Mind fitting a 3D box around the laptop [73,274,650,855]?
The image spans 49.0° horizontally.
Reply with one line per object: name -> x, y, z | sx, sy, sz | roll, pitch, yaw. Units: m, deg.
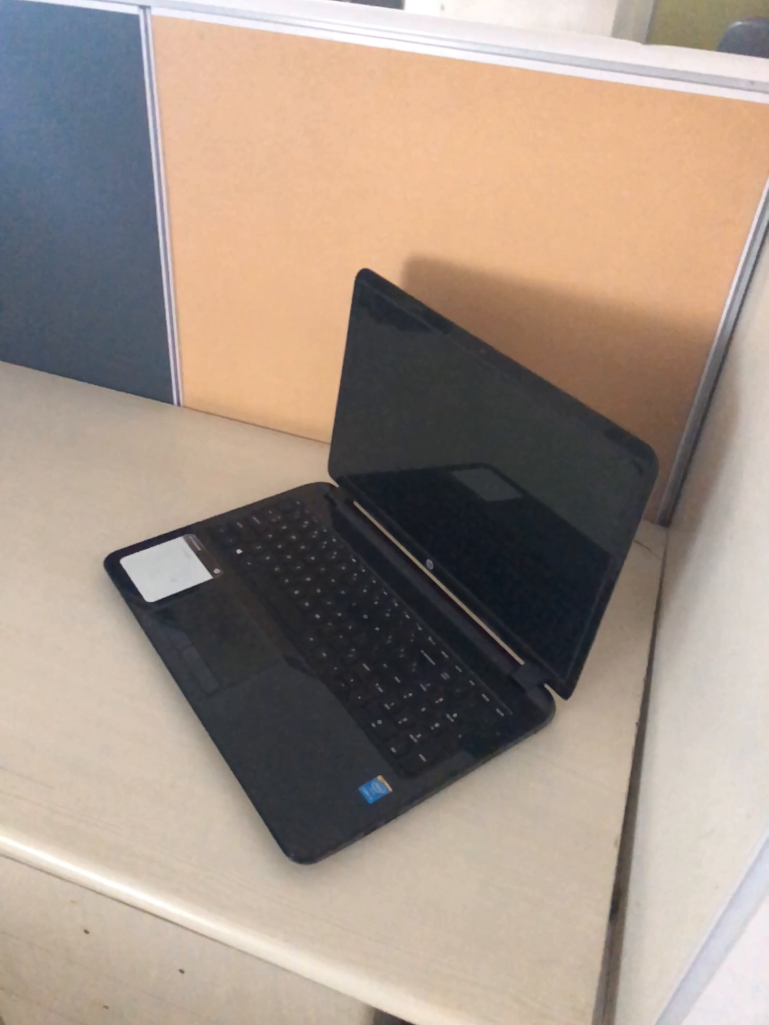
laptop -> -0.041, 0.006, 0.677 | 0.265, 0.225, 0.352 | -21, 44, -28
